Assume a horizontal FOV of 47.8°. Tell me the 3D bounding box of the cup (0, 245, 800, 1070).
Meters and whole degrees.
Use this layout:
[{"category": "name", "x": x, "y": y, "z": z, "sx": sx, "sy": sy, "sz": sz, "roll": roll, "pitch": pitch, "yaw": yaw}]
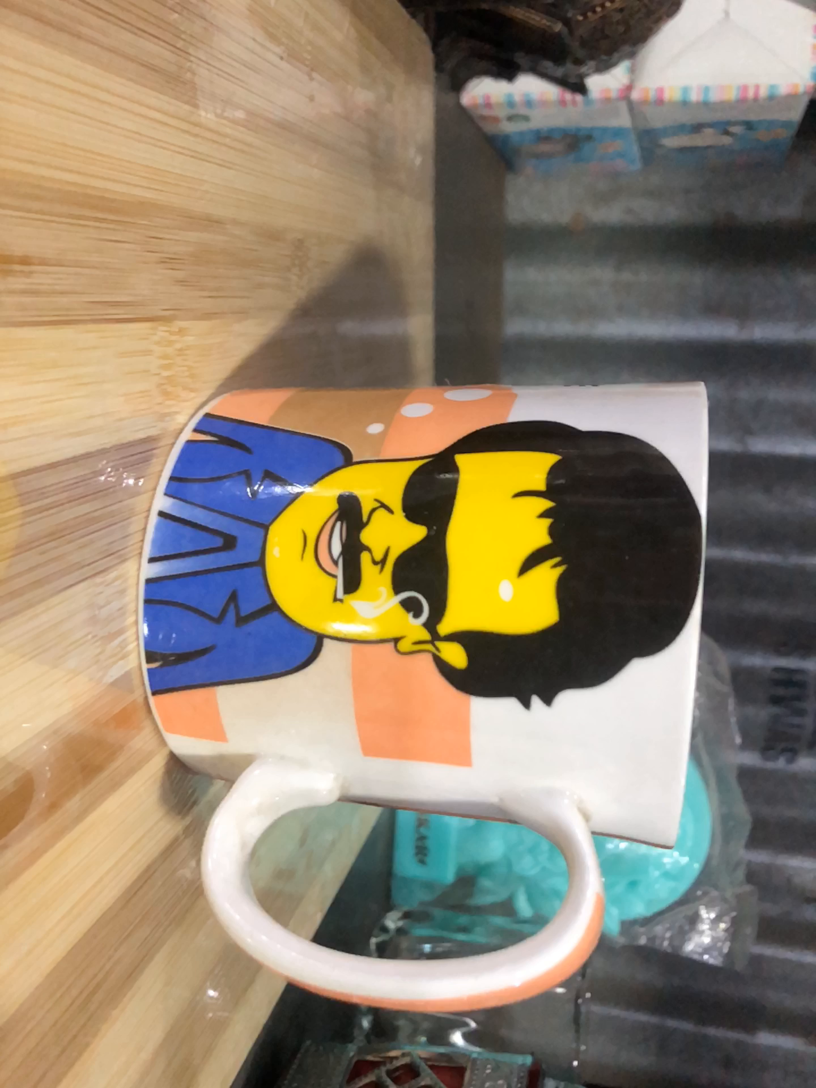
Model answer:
[{"category": "cup", "x": 0.009, "y": 0.015, "z": 0.155, "sx": 0.070, "sy": 0.090, "sz": 0.110, "roll": 76, "pitch": 22, "yaw": -55}]
